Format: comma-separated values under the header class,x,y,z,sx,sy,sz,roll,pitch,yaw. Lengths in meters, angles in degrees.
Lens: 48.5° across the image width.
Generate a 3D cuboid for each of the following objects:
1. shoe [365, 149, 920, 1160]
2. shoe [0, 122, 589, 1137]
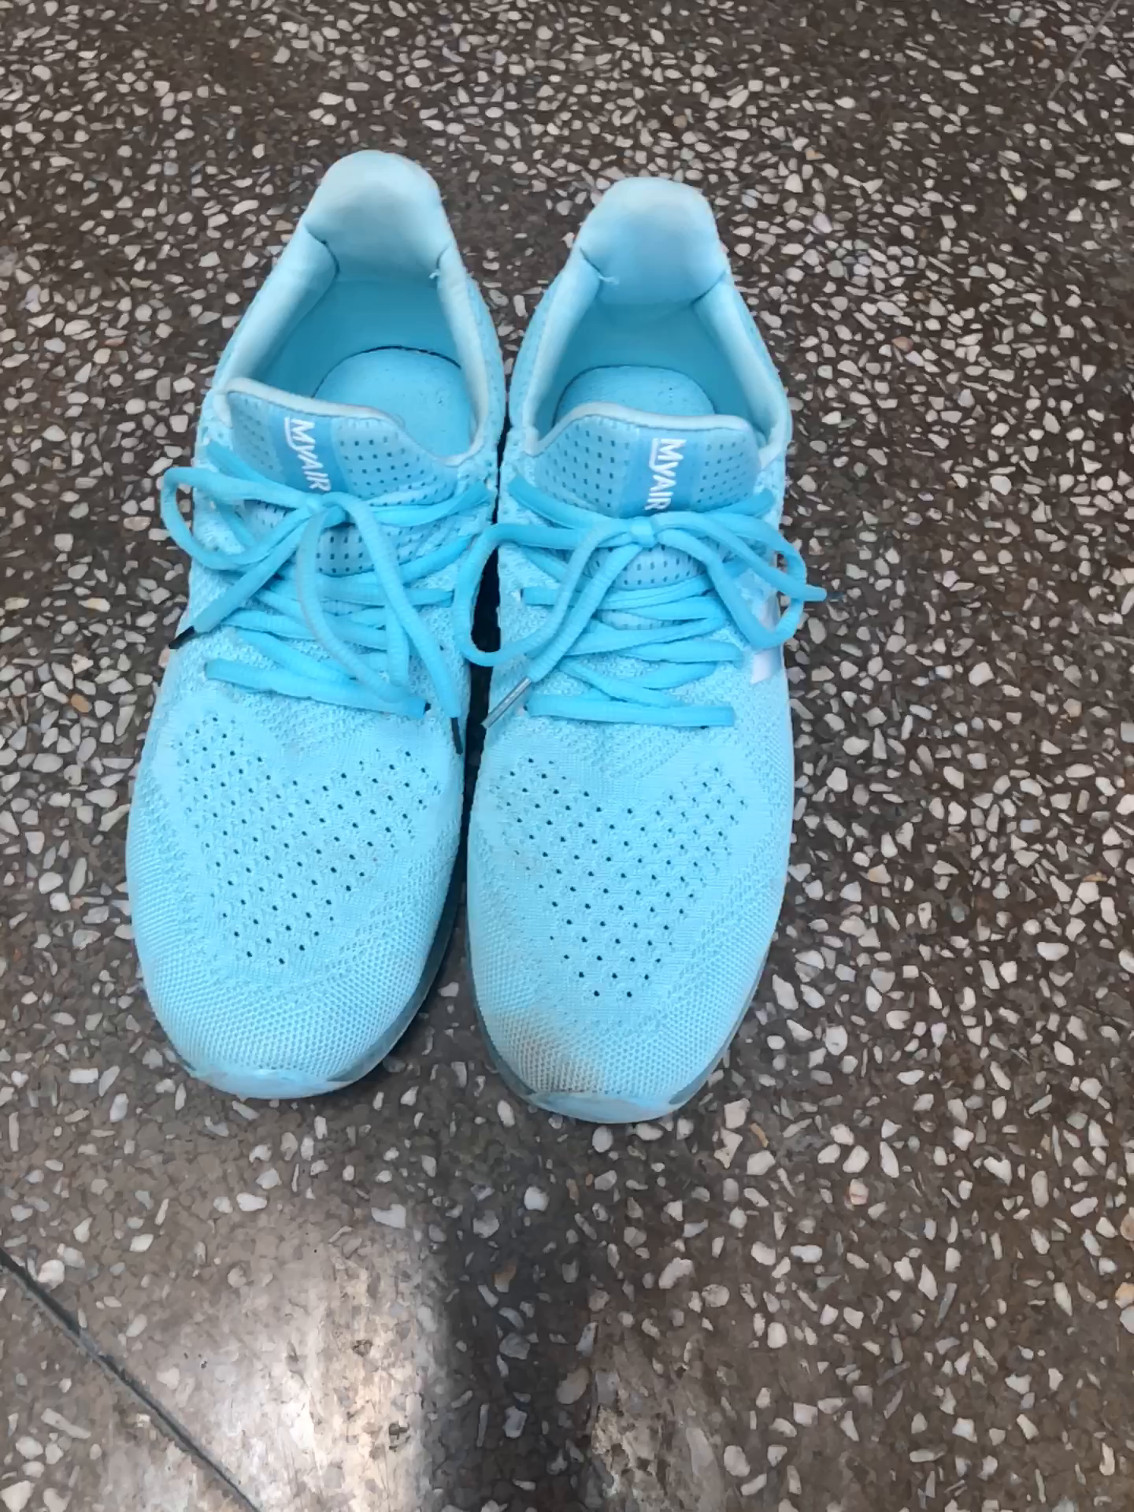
class,x,y,z,sx,sy,sz,roll,pitch,yaw
shoe,0.026,-0.030,0.384,0.120,0.125,0.271,5,66,0
shoe,-0.070,-0.038,0.385,0.120,0.125,0.271,7,66,1
